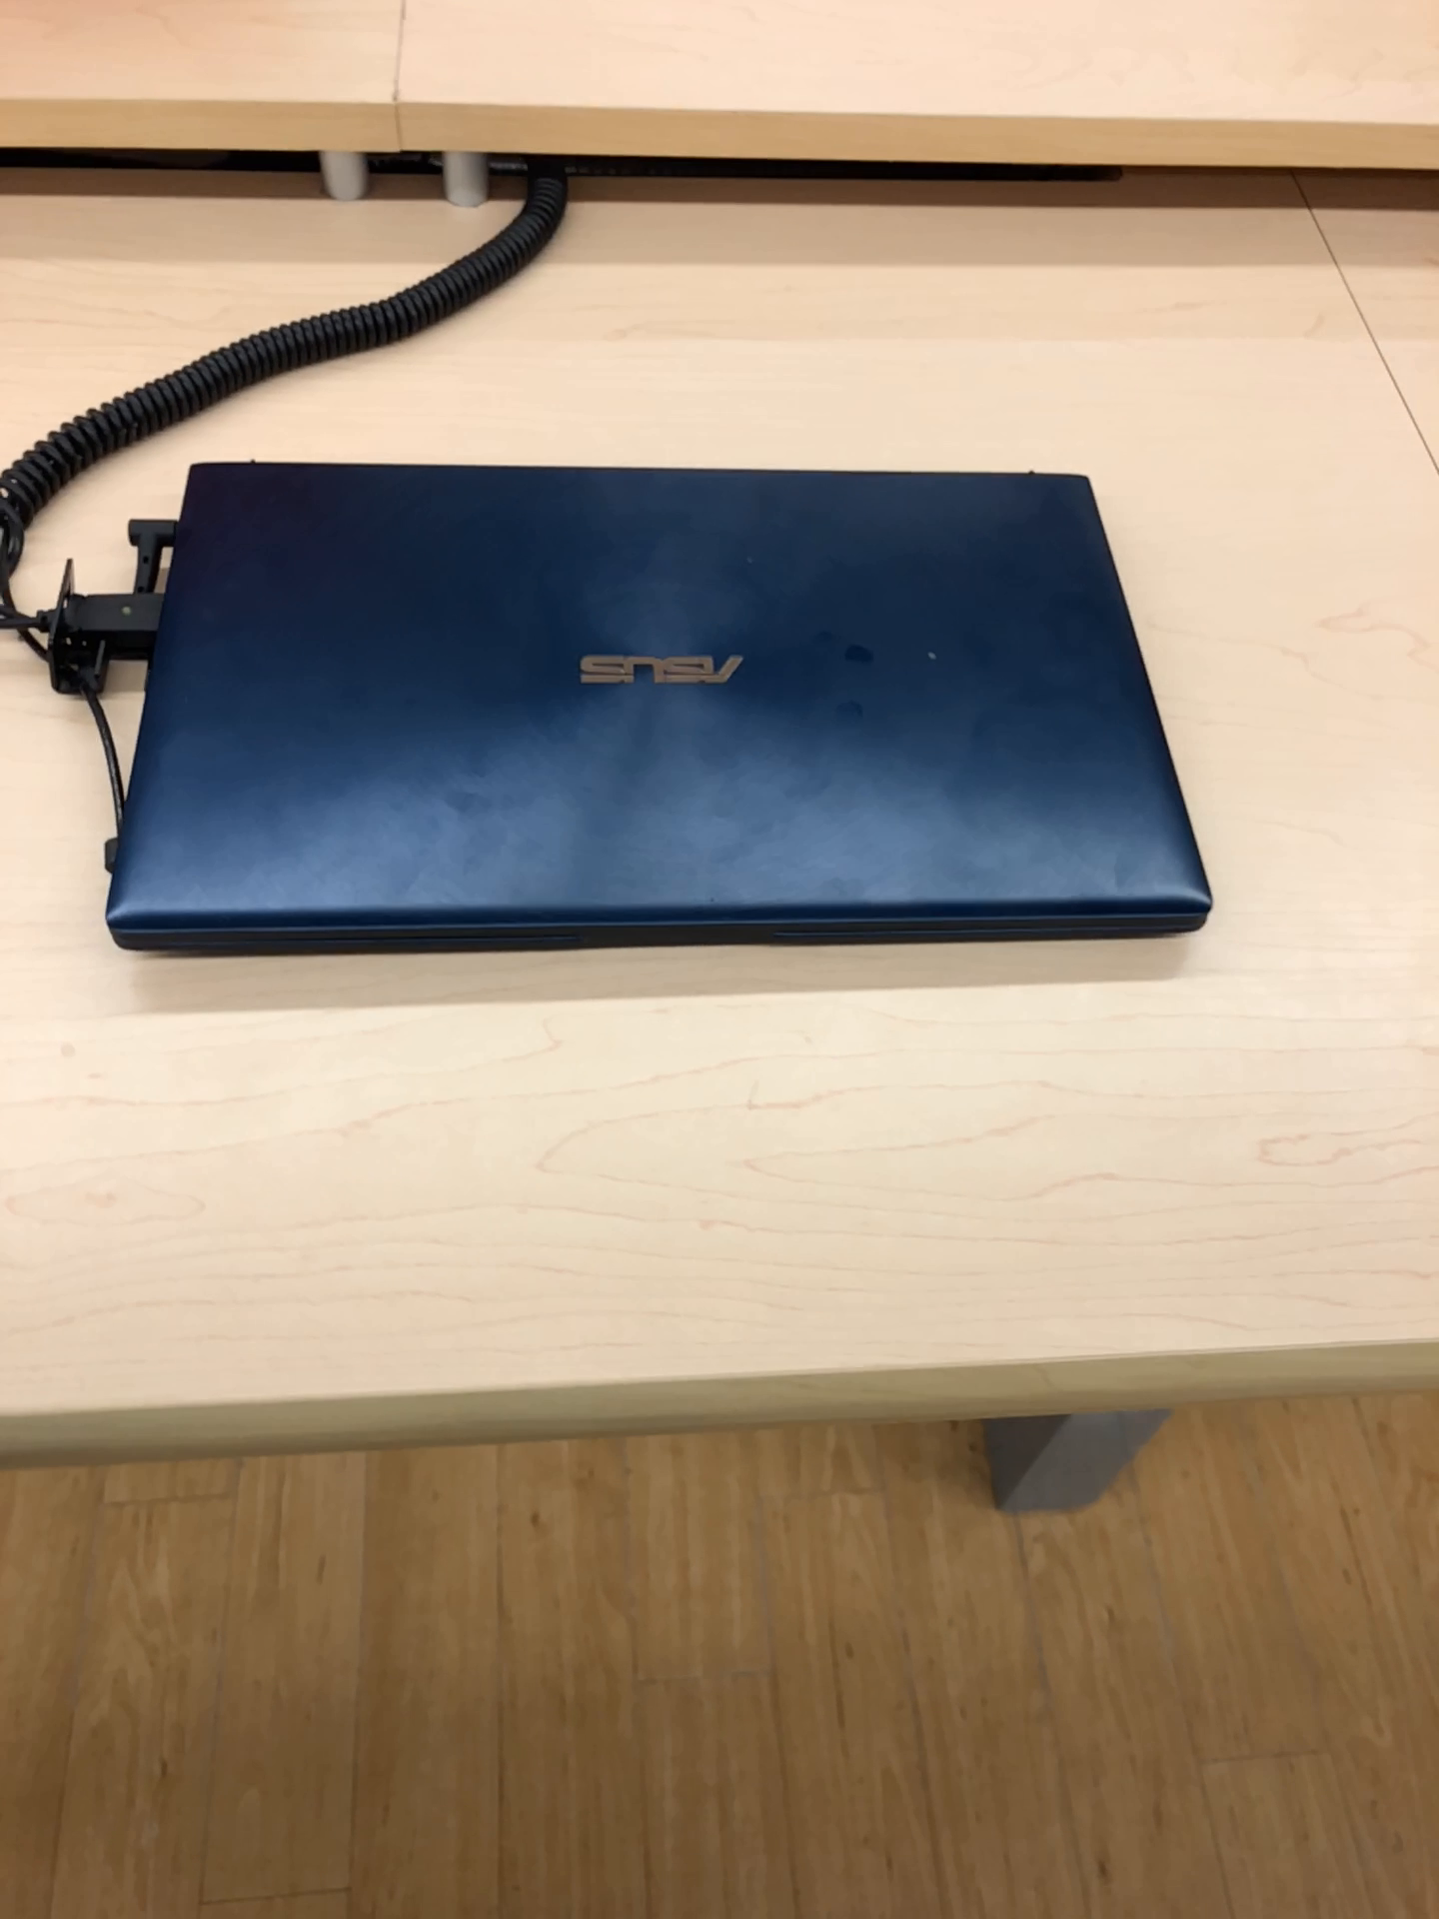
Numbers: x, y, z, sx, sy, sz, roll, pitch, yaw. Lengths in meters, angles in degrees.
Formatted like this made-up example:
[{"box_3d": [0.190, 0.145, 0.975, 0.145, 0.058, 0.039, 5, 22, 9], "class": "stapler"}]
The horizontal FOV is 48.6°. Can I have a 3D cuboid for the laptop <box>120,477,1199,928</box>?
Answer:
[{"box_3d": [-0.017, -0.086, 0.484, 0.295, 0.001, 0.178, -1, 57, -5], "class": "laptop"}]
